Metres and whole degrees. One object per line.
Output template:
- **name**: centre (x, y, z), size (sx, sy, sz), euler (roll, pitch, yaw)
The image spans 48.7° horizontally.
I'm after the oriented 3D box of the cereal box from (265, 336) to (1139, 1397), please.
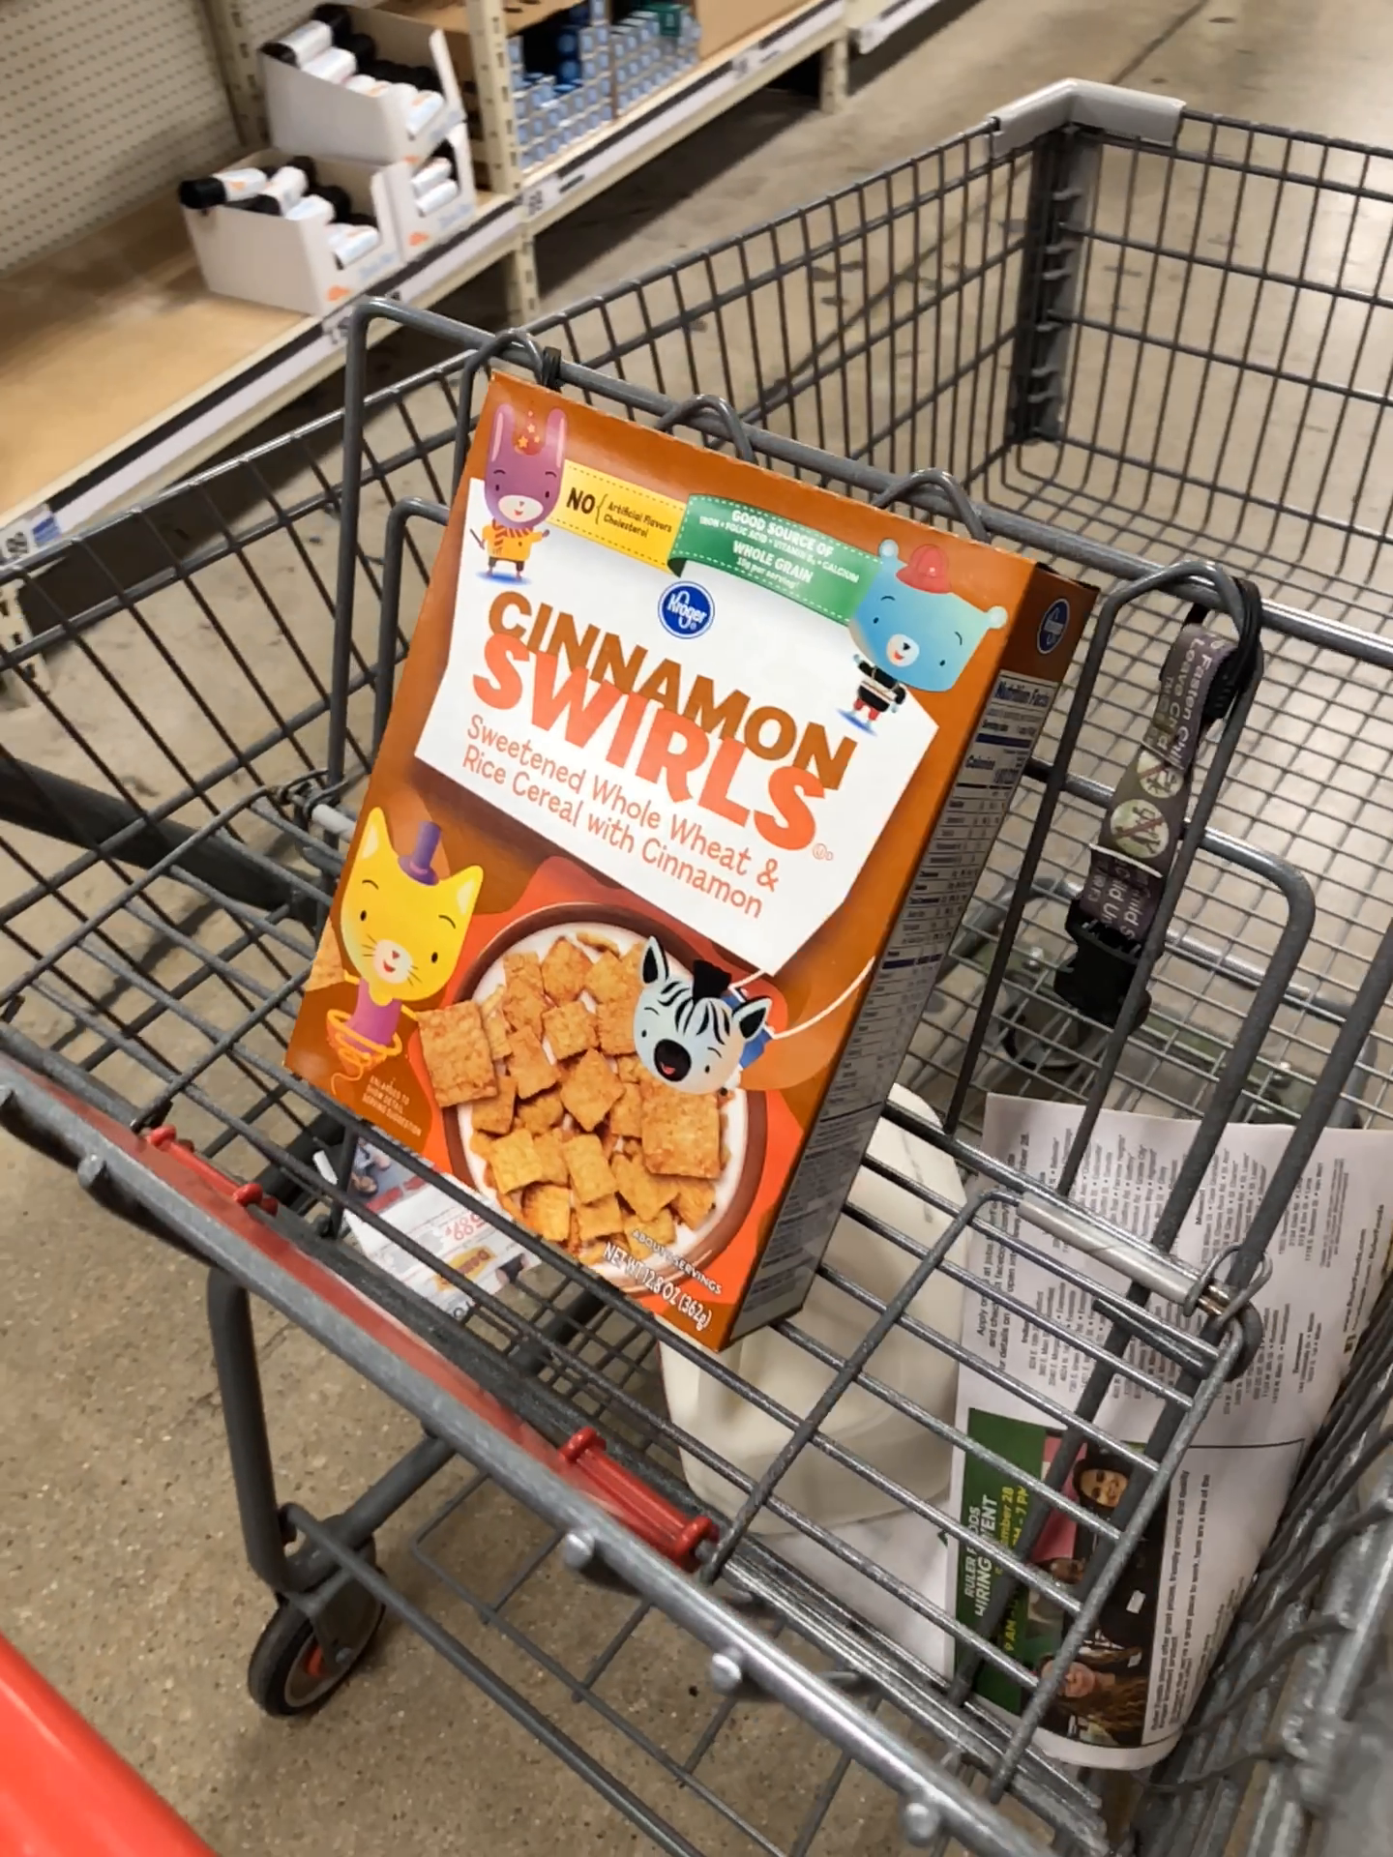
- **cereal box**: centre (-0.015, -0.025, 0.488), size (0.210, 0.260, 0.050), euler (28, 17, 27)
